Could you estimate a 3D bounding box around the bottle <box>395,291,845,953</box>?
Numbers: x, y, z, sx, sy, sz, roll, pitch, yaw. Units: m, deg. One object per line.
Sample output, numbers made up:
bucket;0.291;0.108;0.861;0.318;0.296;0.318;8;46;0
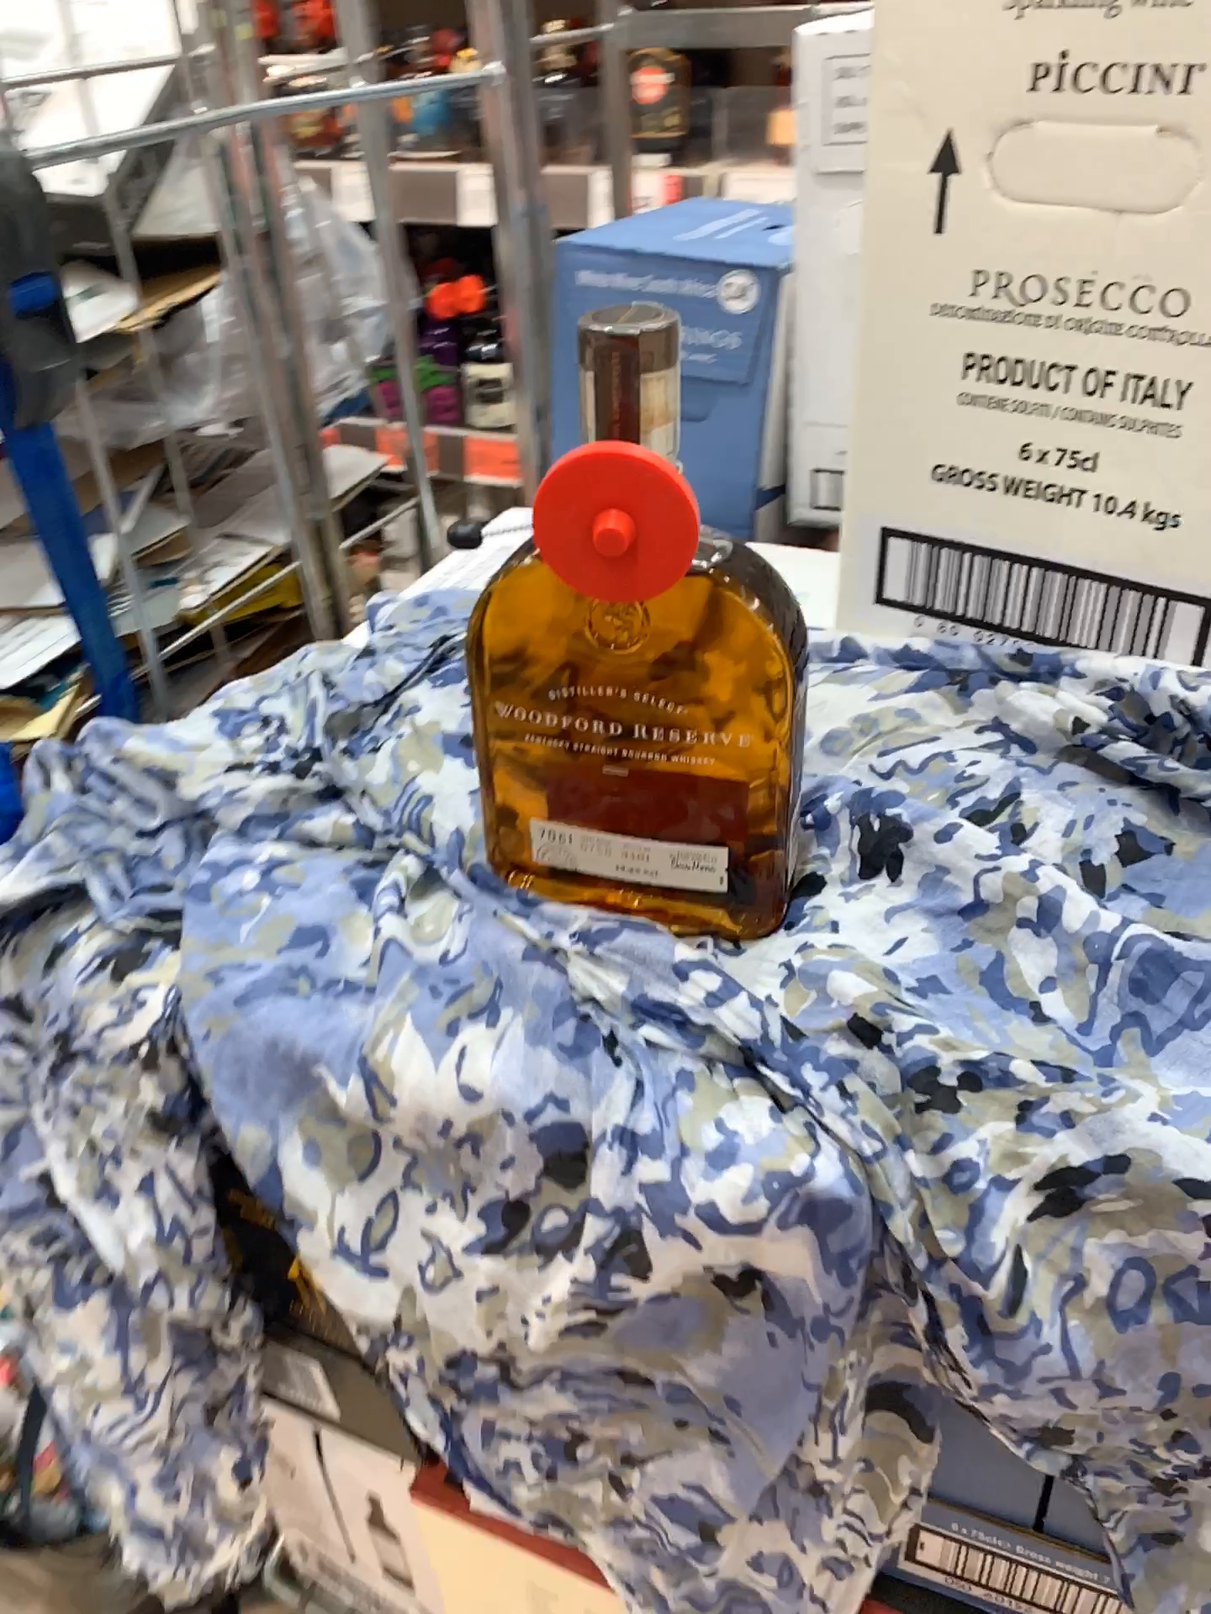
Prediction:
bottle;0.008;-0.062;0.450;0.133;0.222;0.051;8;33;16
